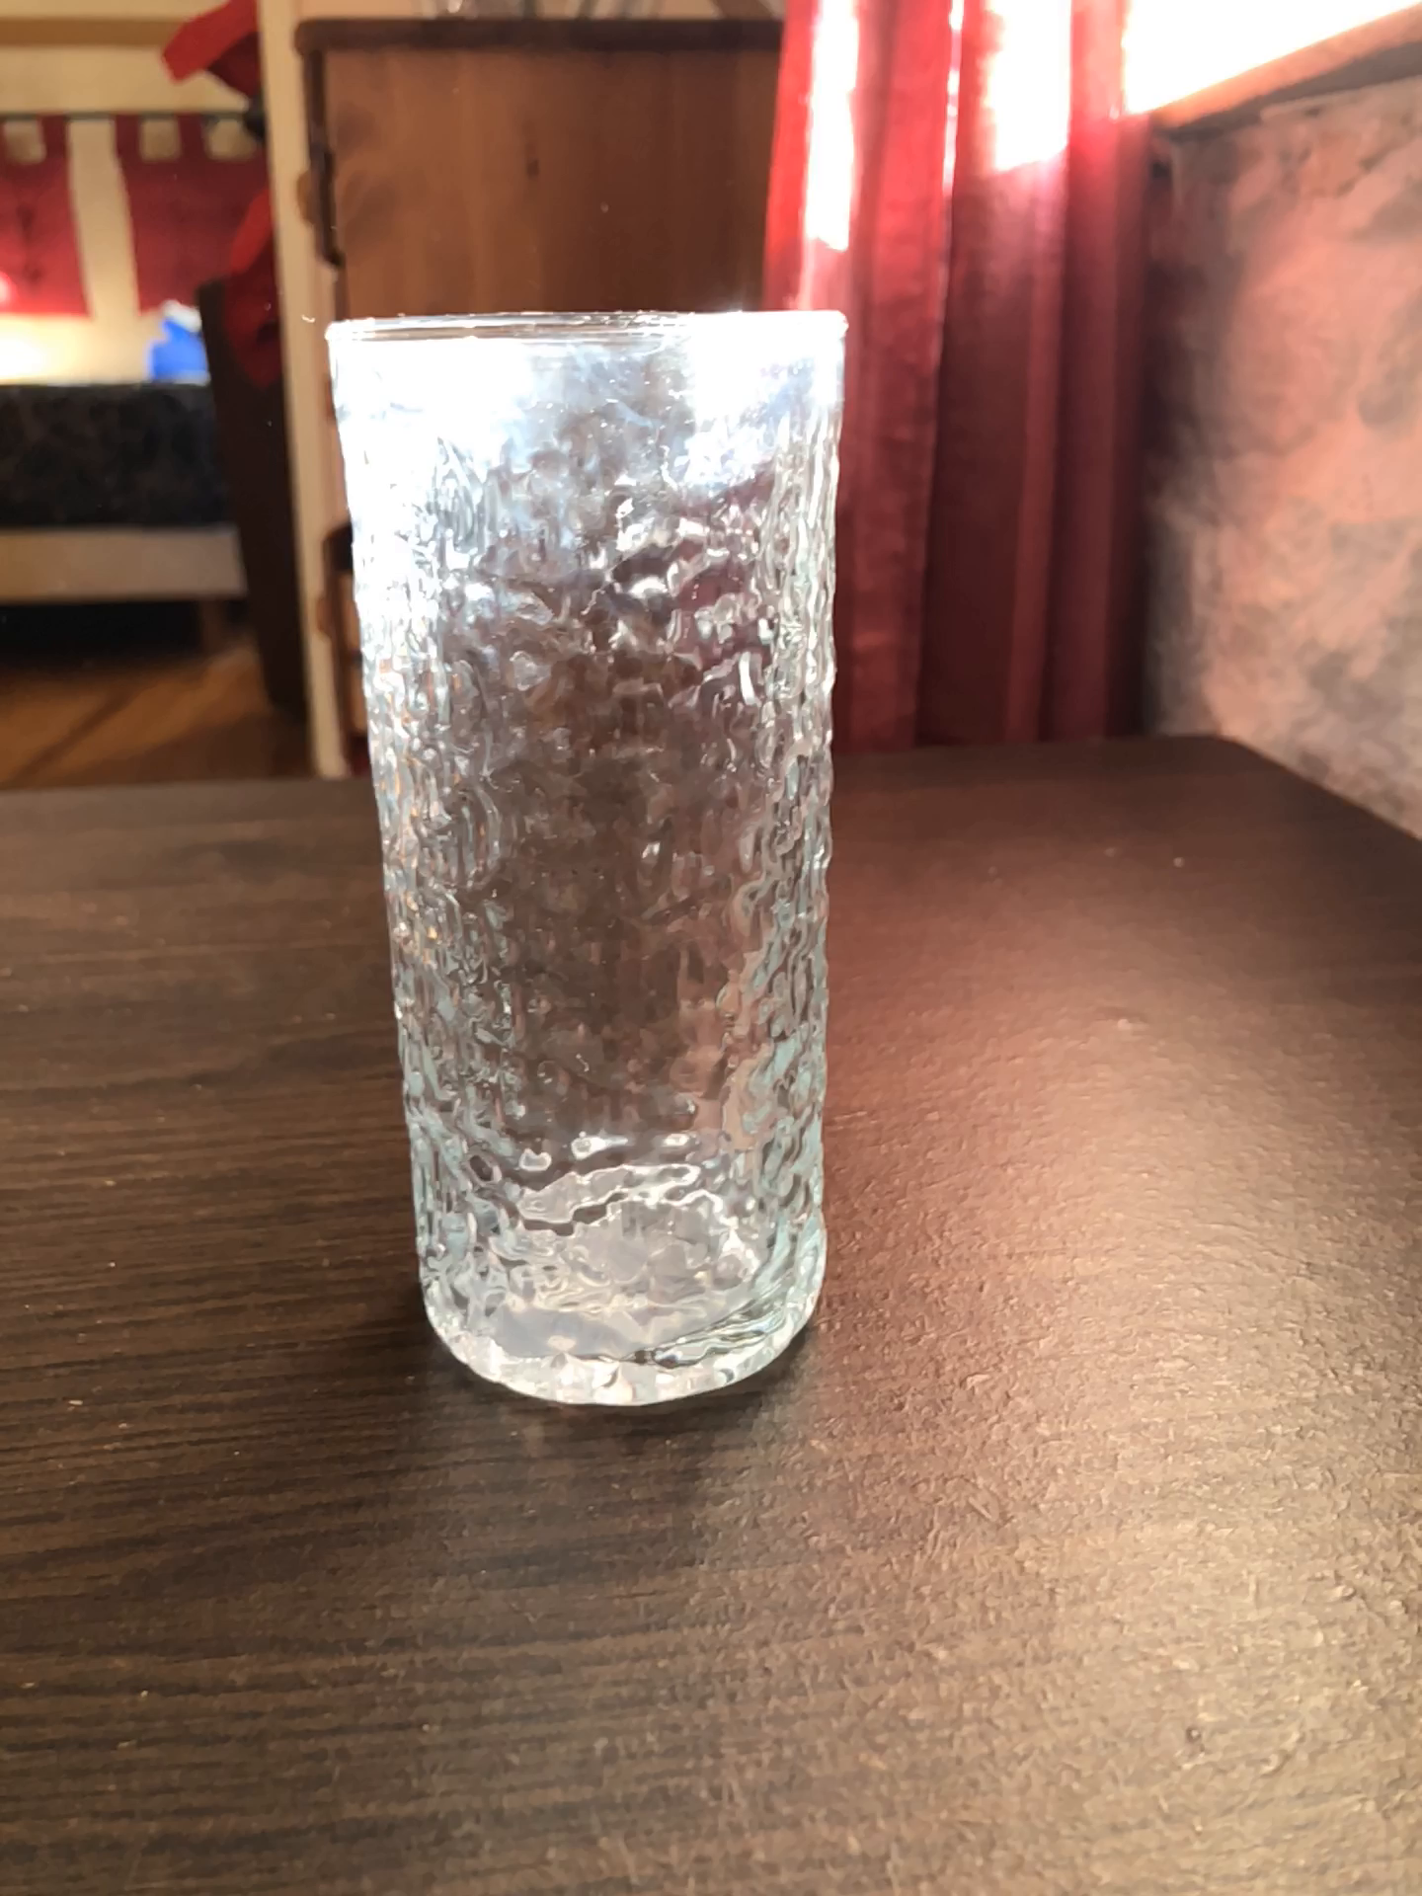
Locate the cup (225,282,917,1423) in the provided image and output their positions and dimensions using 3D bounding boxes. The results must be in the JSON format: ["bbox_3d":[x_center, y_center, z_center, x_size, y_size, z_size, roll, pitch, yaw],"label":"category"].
[{"bbox_3d":[-0.014,-0.015,0.210,0.068,0.131,0.070,1,19,0],"label":"cup"}]
